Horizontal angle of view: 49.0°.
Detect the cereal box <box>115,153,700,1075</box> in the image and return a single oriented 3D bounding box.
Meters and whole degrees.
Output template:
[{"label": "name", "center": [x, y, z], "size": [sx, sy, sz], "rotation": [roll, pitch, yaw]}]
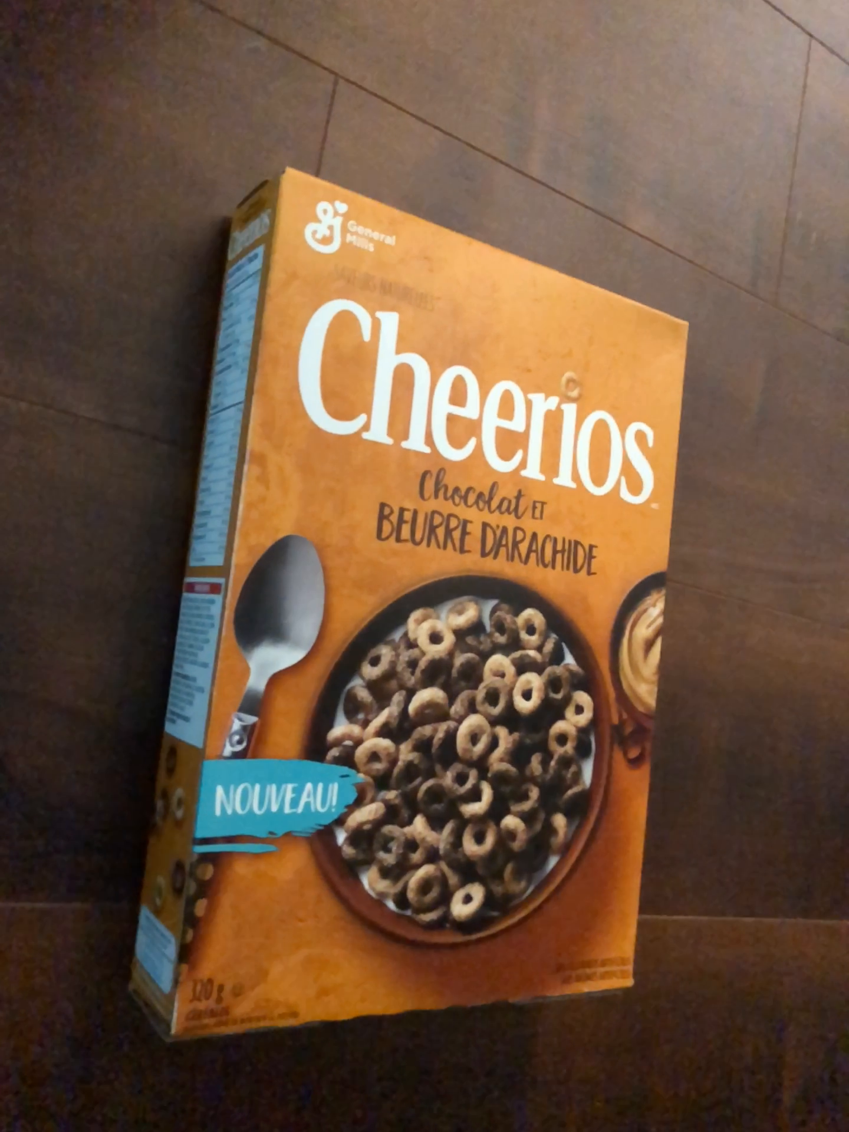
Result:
[{"label": "cereal box", "center": [0.005, 0.024, 0.378], "size": [0.200, 0.060, 0.300], "rotation": [9, 85, -31]}]
